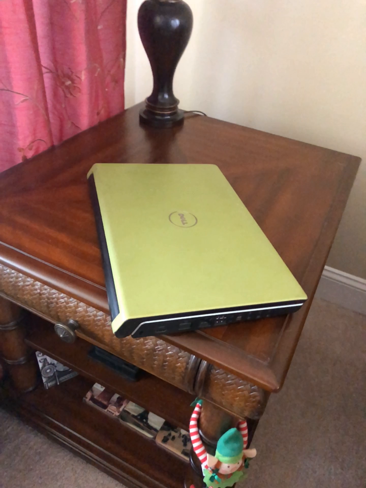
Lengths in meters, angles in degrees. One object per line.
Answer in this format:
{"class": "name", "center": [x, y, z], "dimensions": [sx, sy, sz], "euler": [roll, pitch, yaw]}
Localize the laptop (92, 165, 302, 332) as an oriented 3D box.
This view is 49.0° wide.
{"class": "laptop", "center": [-0.006, -0.027, 0.641], "dimensions": [0.236, 0.020, 0.380], "euler": [-2, 38, -18]}
